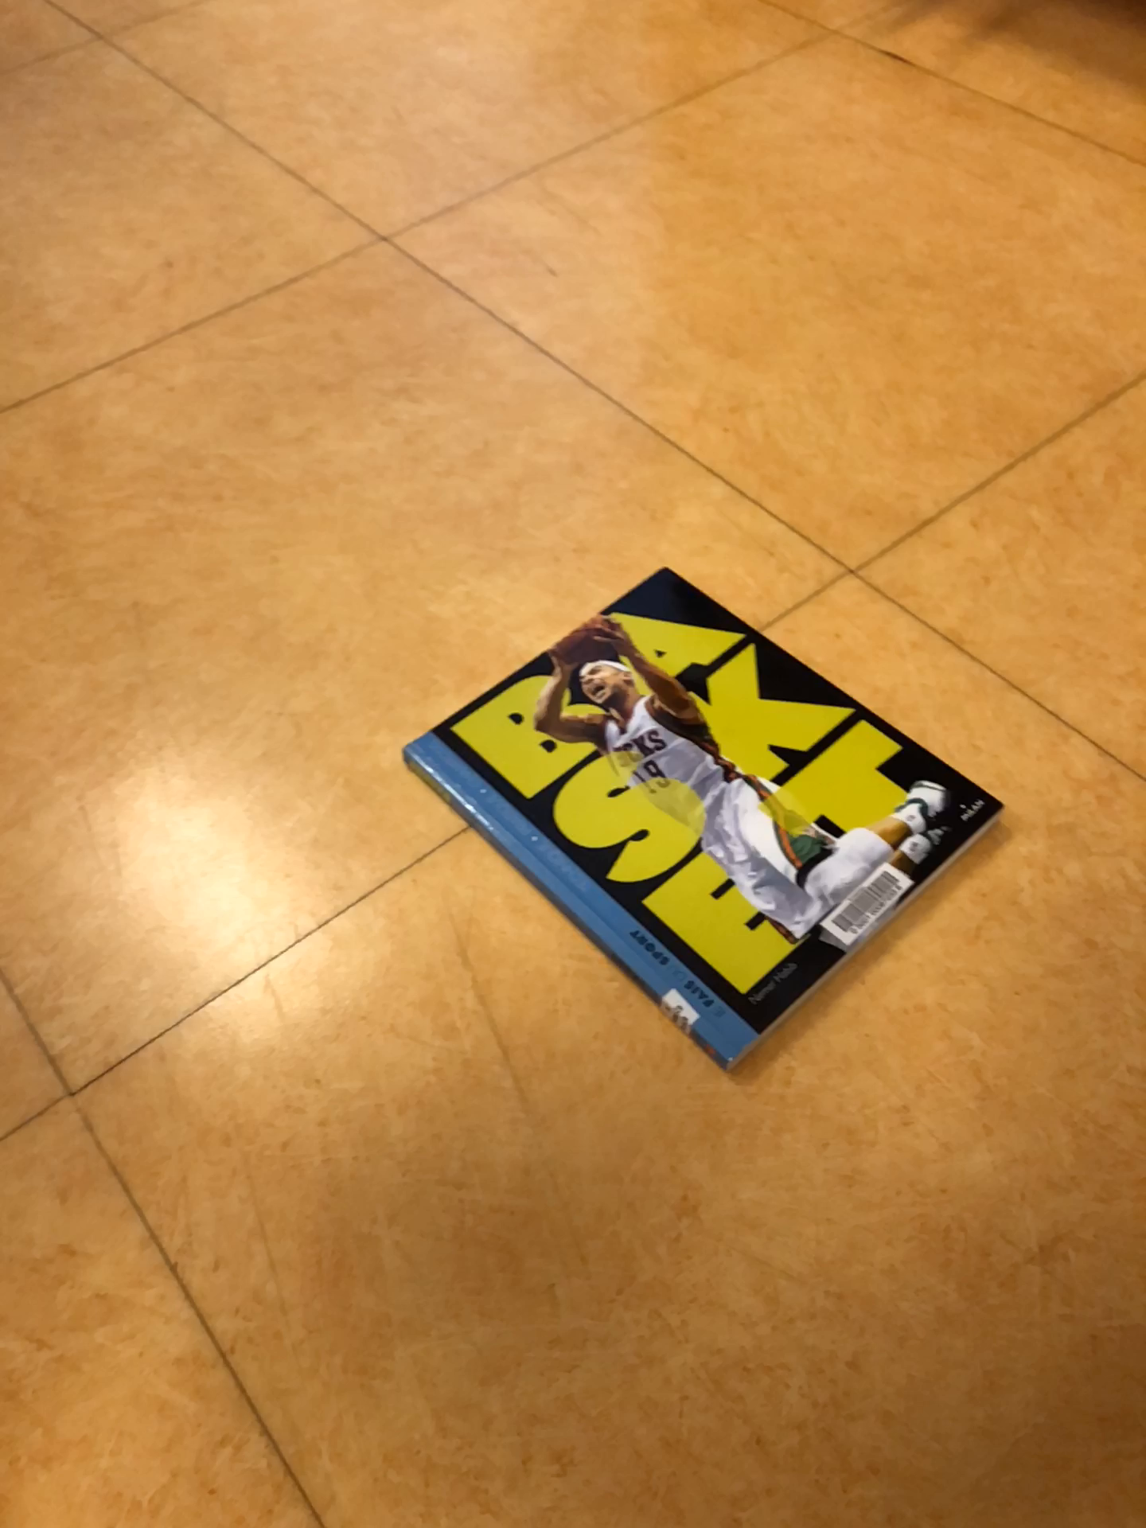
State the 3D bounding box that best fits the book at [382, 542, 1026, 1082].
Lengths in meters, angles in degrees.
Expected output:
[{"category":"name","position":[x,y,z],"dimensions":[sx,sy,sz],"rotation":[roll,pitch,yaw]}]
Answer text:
[{"category":"book","position":[0.060,0.005,0.627],"dimensions":[0.201,0.020,0.245],"rotation":[-37,59,-23]}]
